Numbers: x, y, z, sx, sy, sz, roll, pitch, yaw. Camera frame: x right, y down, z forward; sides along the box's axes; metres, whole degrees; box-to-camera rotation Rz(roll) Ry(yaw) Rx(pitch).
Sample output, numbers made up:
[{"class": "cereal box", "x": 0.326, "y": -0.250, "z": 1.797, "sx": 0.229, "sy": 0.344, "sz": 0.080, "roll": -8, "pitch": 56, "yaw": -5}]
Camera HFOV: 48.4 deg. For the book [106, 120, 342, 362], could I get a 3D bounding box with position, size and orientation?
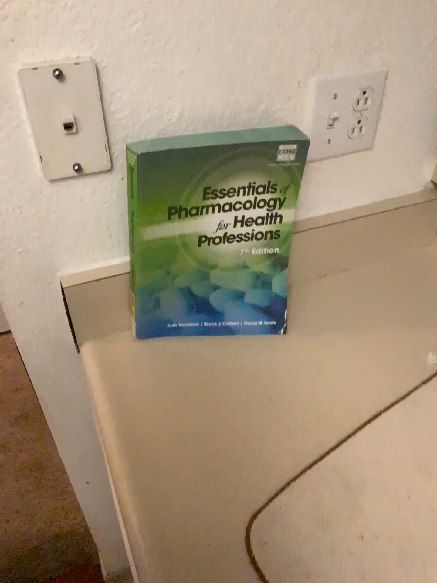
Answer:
[{"class": "book", "x": -0.001, "y": -0.058, "z": 0.611, "sx": 0.240, "sy": 0.270, "sz": 0.090, "roll": -9, "pitch": 41, "yaw": -15}]
